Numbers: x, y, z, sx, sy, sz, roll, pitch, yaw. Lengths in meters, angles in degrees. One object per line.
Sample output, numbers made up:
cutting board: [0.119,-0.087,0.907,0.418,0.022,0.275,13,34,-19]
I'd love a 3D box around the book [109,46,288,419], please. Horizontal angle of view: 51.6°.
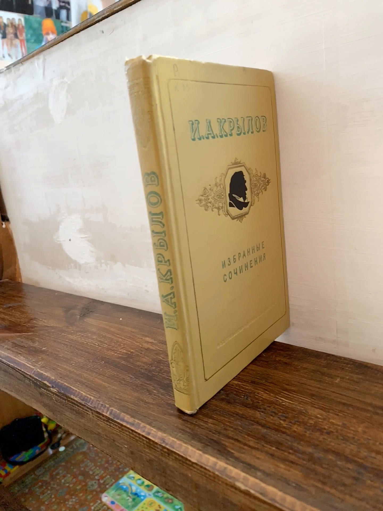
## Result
book: [0.019,-0.020,0.268,0.020,0.205,0.132,4,17,40]
